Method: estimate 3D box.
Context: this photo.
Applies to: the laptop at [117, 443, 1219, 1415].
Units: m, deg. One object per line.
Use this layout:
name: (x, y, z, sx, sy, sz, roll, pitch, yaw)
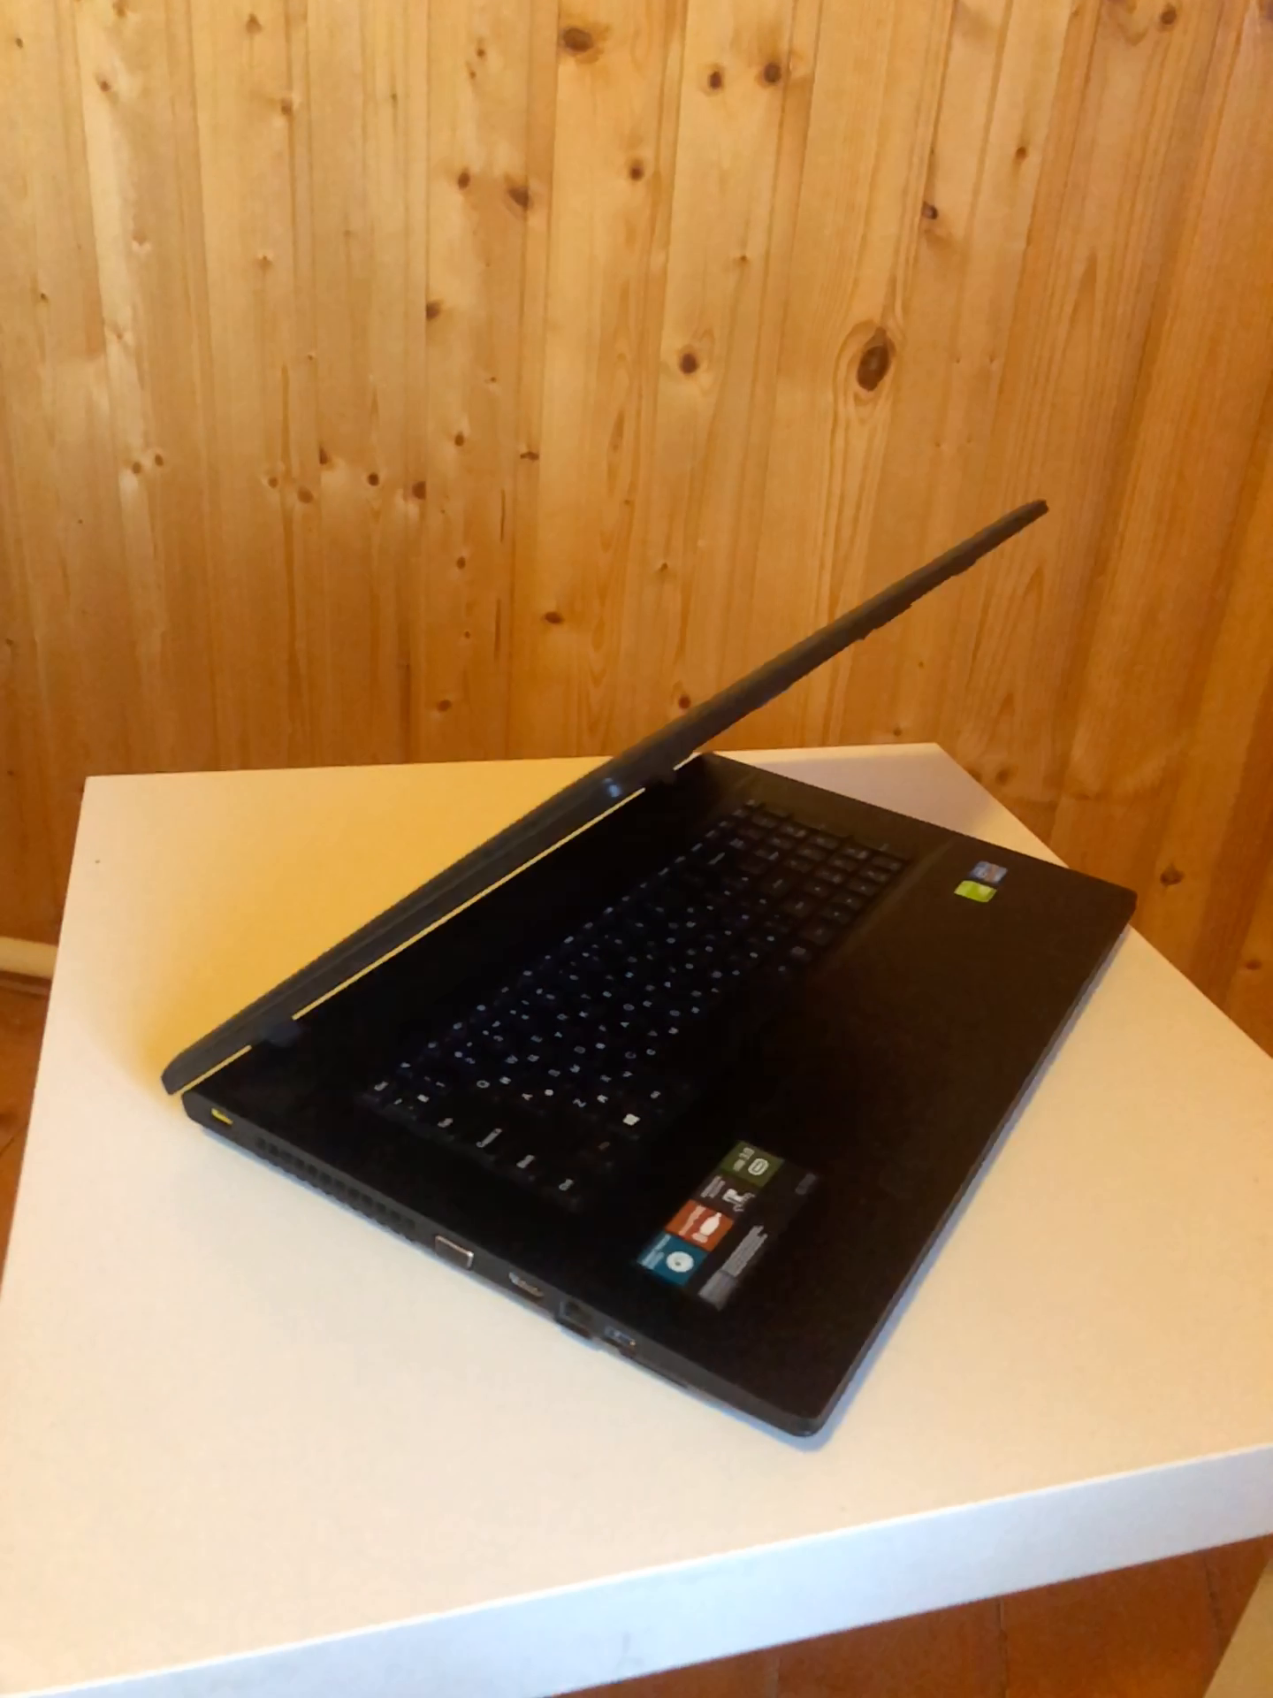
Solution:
laptop: (0.046, -0.027, 0.601, 0.271, 0.184, 0.412, 20, 31, 26)
